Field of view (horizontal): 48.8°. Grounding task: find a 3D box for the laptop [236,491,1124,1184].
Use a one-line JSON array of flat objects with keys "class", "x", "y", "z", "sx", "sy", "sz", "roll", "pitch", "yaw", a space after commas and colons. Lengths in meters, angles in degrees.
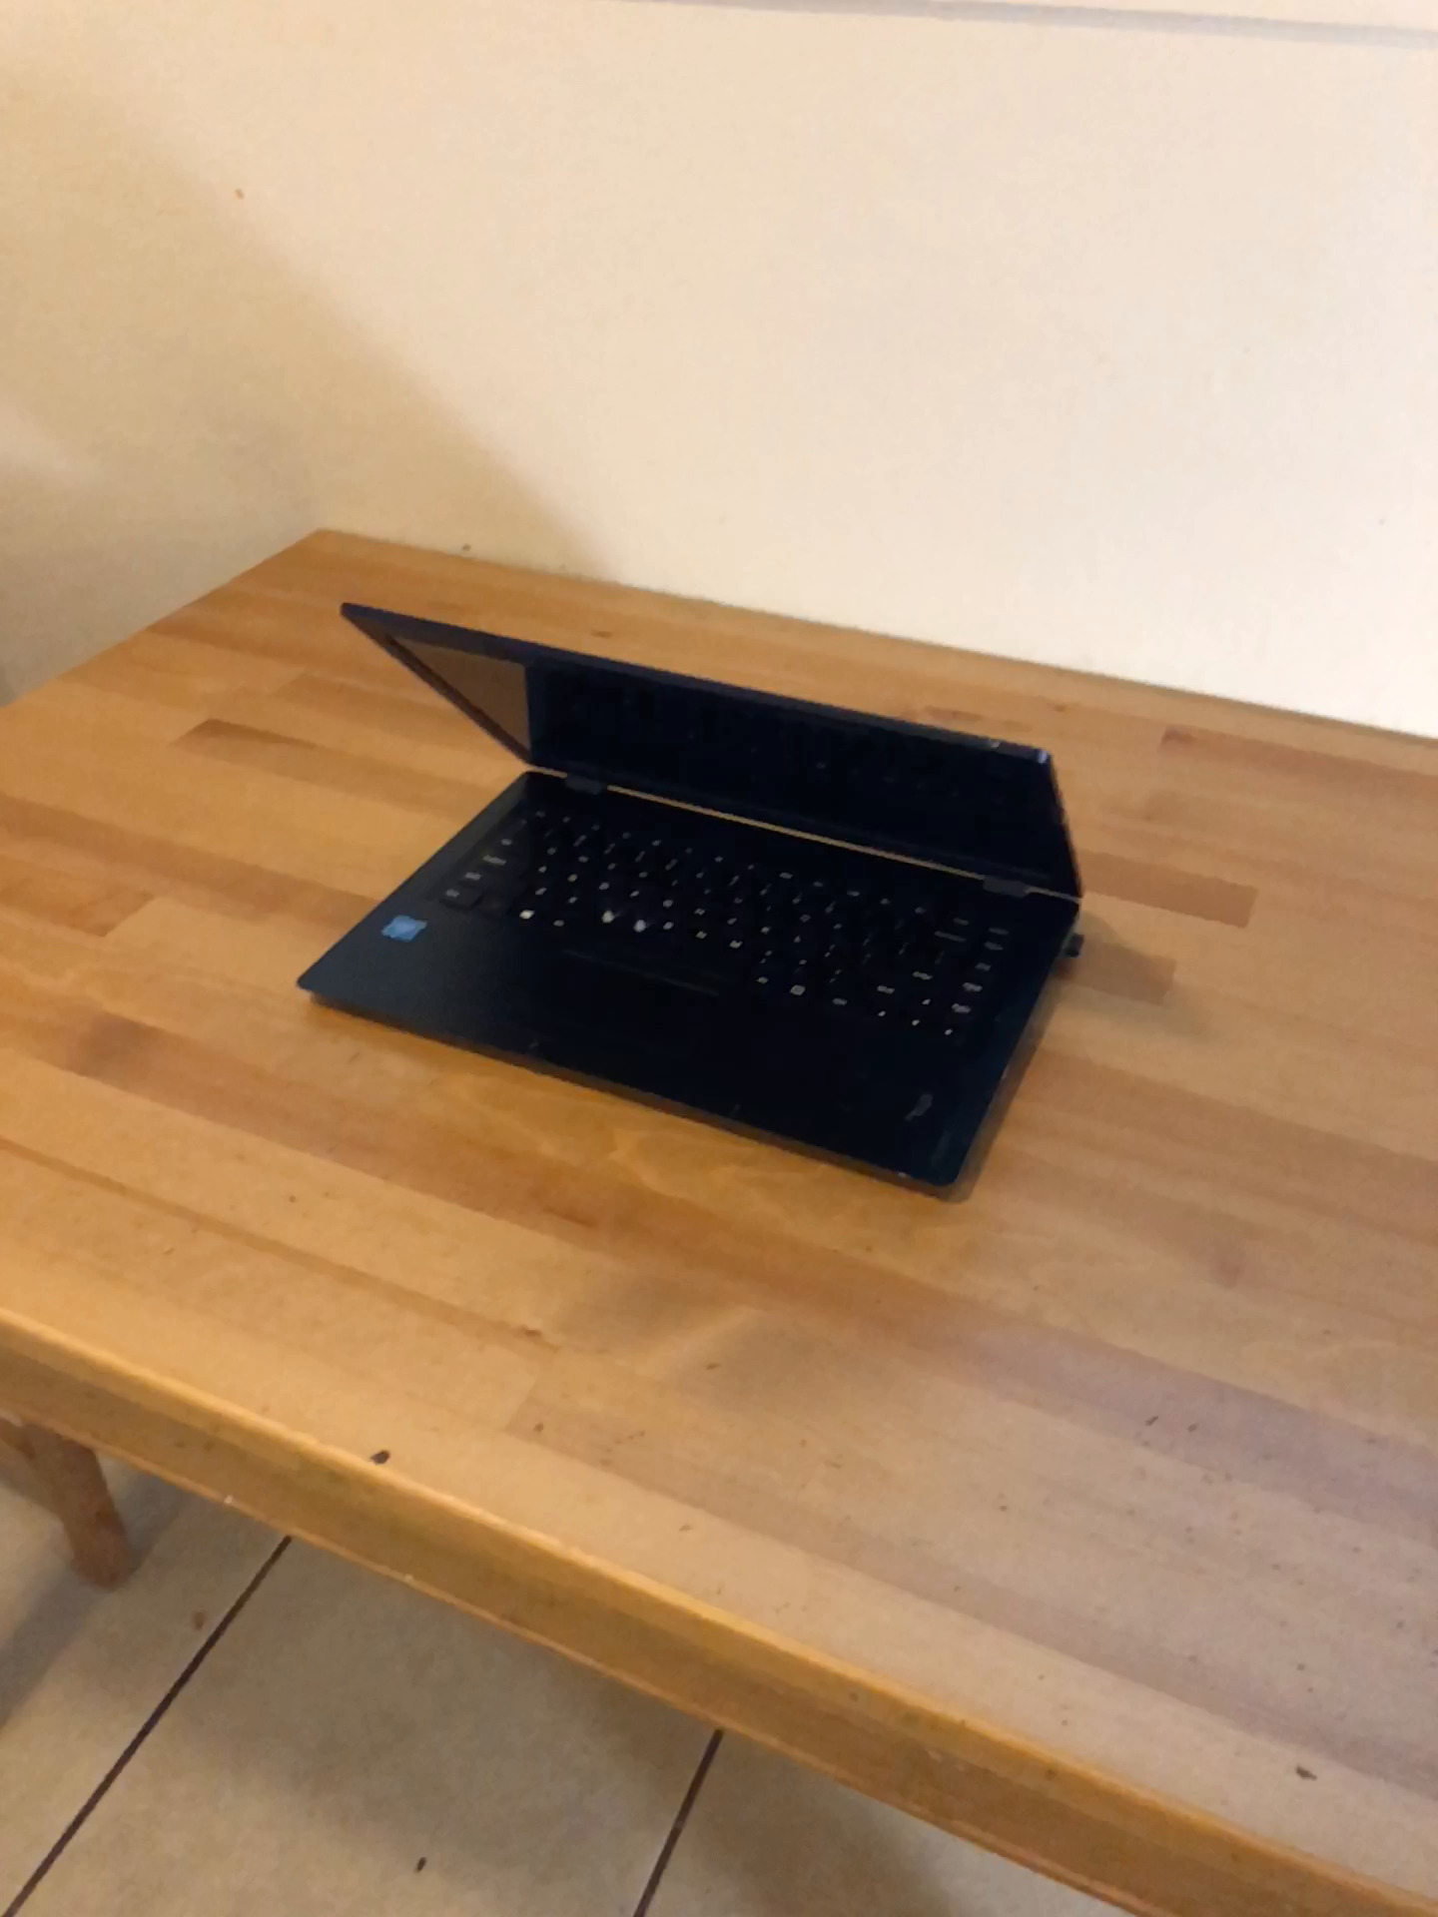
[{"class": "laptop", "x": -0.009, "y": -0.073, "z": 0.725, "sx": 0.317, "sy": 0.161, "sz": 0.217, "roll": 16, "pitch": 40, "yaw": 19}]
